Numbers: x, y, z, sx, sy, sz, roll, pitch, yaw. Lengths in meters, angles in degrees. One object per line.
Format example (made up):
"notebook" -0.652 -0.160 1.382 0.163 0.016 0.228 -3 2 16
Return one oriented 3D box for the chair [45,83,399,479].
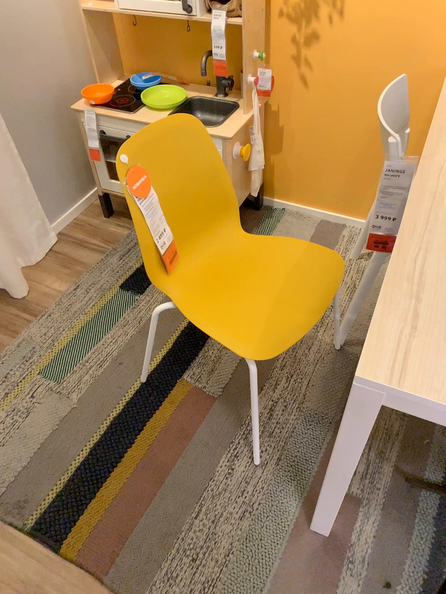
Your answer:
"chair" 0.033 -0.034 1.278 0.555 0.809 0.559 23 52 23
